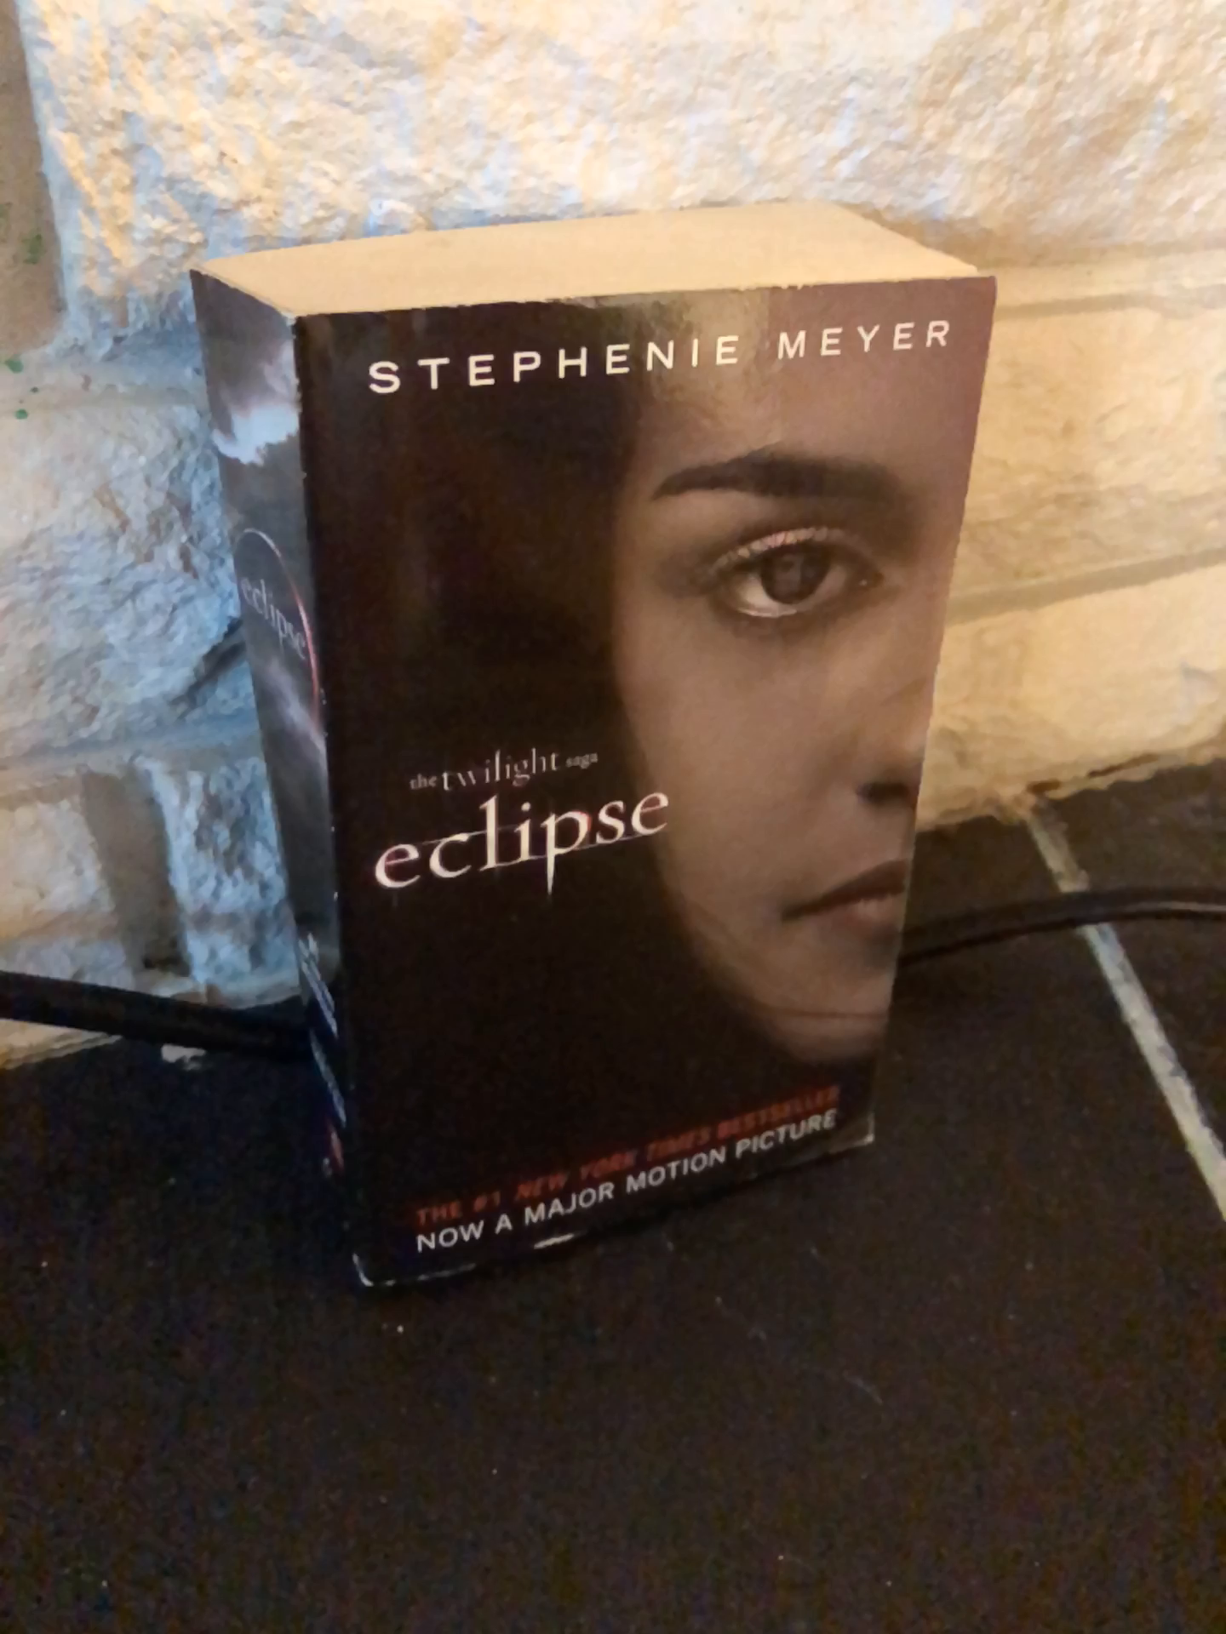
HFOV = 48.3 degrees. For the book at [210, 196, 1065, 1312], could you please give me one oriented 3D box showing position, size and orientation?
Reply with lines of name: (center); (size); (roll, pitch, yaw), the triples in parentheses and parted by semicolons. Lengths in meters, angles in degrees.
book: (0.001, -0.002, 0.234); (0.106, 0.181, 0.042); (-10, 37, -17)
